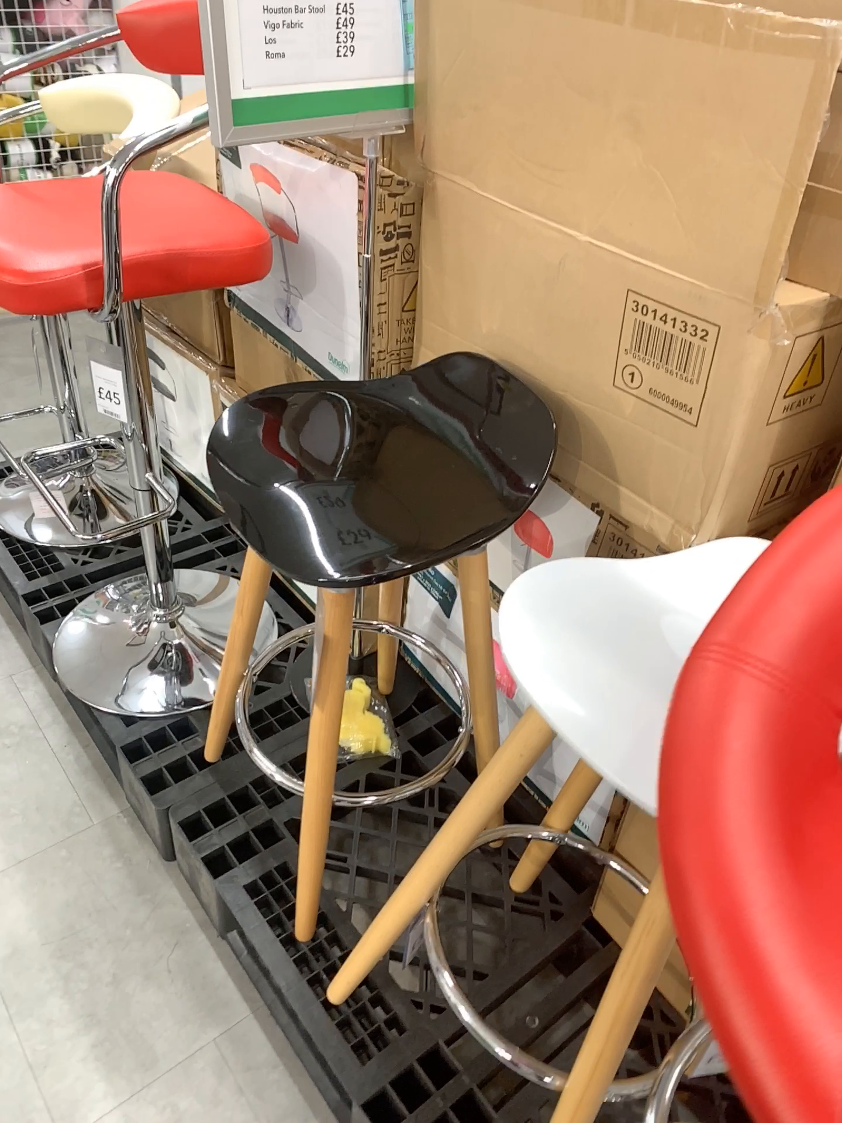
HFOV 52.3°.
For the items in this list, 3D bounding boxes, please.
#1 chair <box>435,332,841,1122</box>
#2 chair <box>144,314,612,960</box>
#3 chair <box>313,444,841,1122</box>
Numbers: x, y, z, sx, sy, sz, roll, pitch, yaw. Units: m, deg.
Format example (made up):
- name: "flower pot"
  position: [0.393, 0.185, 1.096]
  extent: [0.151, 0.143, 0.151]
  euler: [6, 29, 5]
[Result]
- name: "chair"
  position: [0.386, 0.438, 0.586]
  extent: [0.478, 0.978, 0.477]
  euler: [-21, 44, -31]
- name: "chair"
  position: [-0.088, 0.102, 1.183]
  extent: [0.397, 0.721, 0.387]
  euler: [-16, 41, -27]
- name: "chair"
  position: [0.167, 0.326, 0.913]
  extent: [0.417, 0.721, 0.387]
  euler: [-21, 44, -31]
